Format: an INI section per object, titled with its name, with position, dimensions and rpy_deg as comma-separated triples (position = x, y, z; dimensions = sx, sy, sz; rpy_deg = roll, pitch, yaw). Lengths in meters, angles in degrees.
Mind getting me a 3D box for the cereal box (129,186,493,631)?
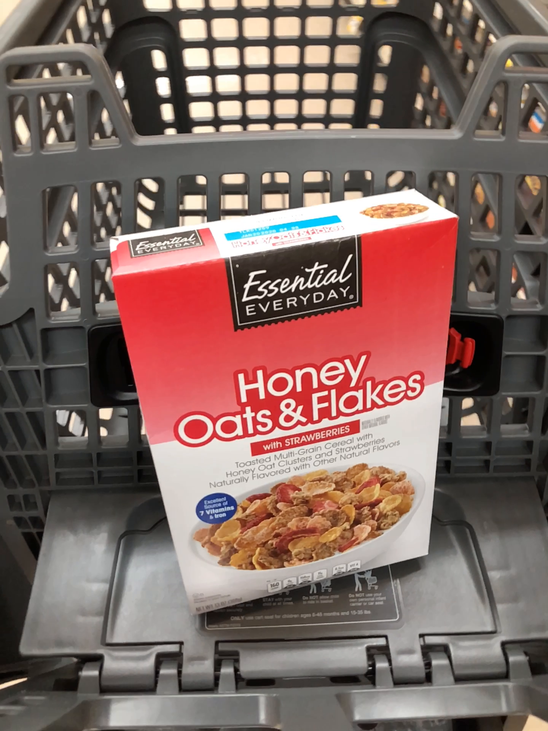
[cereal box]
position = 0.026, 0.037, 0.383
dimensions = 0.180, 0.260, 0.060
rpy_deg = -11, 32, -11
